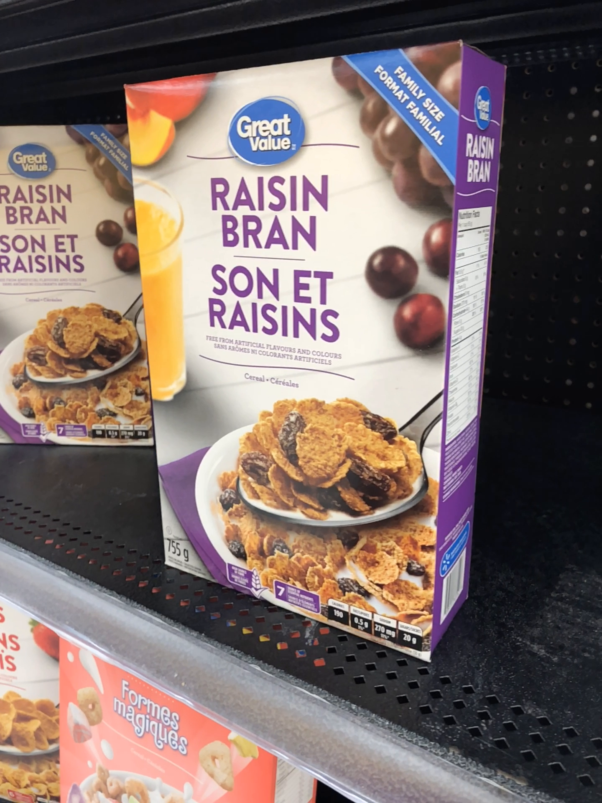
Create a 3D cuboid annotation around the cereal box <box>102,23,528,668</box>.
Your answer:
[{"bbox_3d":[0.000,-0.030,0.385,0.210,0.299,0.070,10,20,30],"label":"cereal box"}]
